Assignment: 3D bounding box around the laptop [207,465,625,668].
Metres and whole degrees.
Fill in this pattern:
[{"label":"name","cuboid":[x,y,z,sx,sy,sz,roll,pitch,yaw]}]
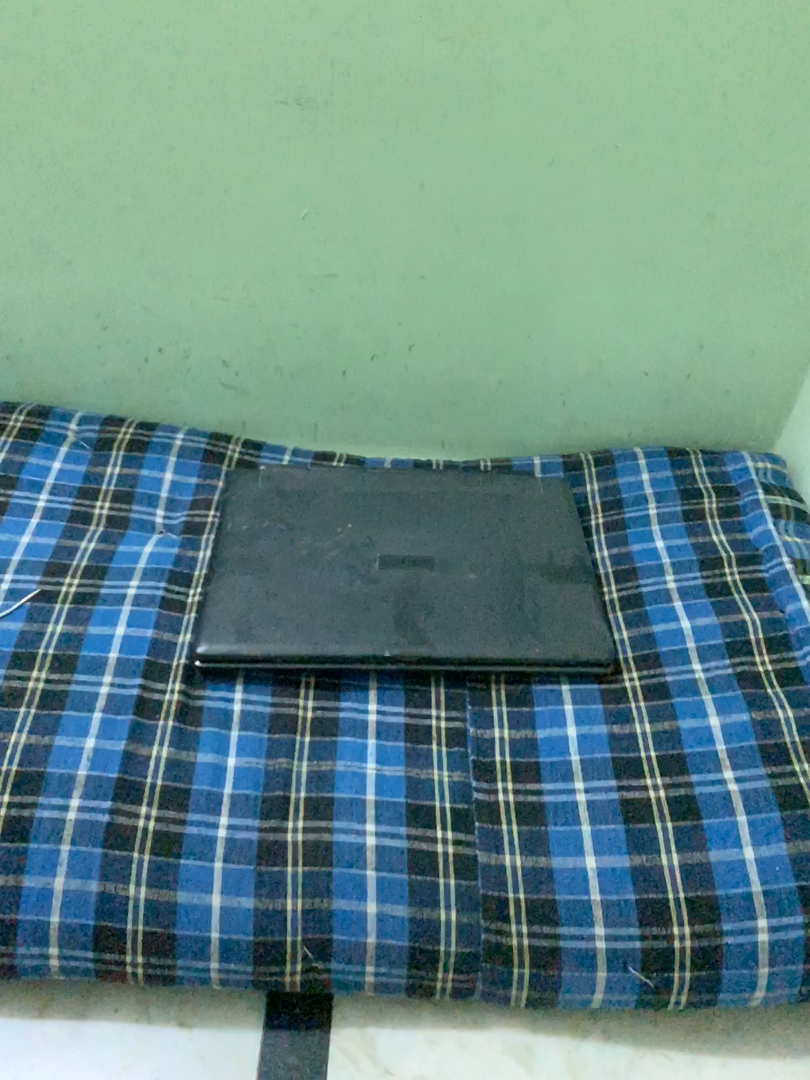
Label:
[{"label":"laptop","cuboid":[0.010,0.014,0.719,0.323,0.005,0.217,3,45,-3]}]
